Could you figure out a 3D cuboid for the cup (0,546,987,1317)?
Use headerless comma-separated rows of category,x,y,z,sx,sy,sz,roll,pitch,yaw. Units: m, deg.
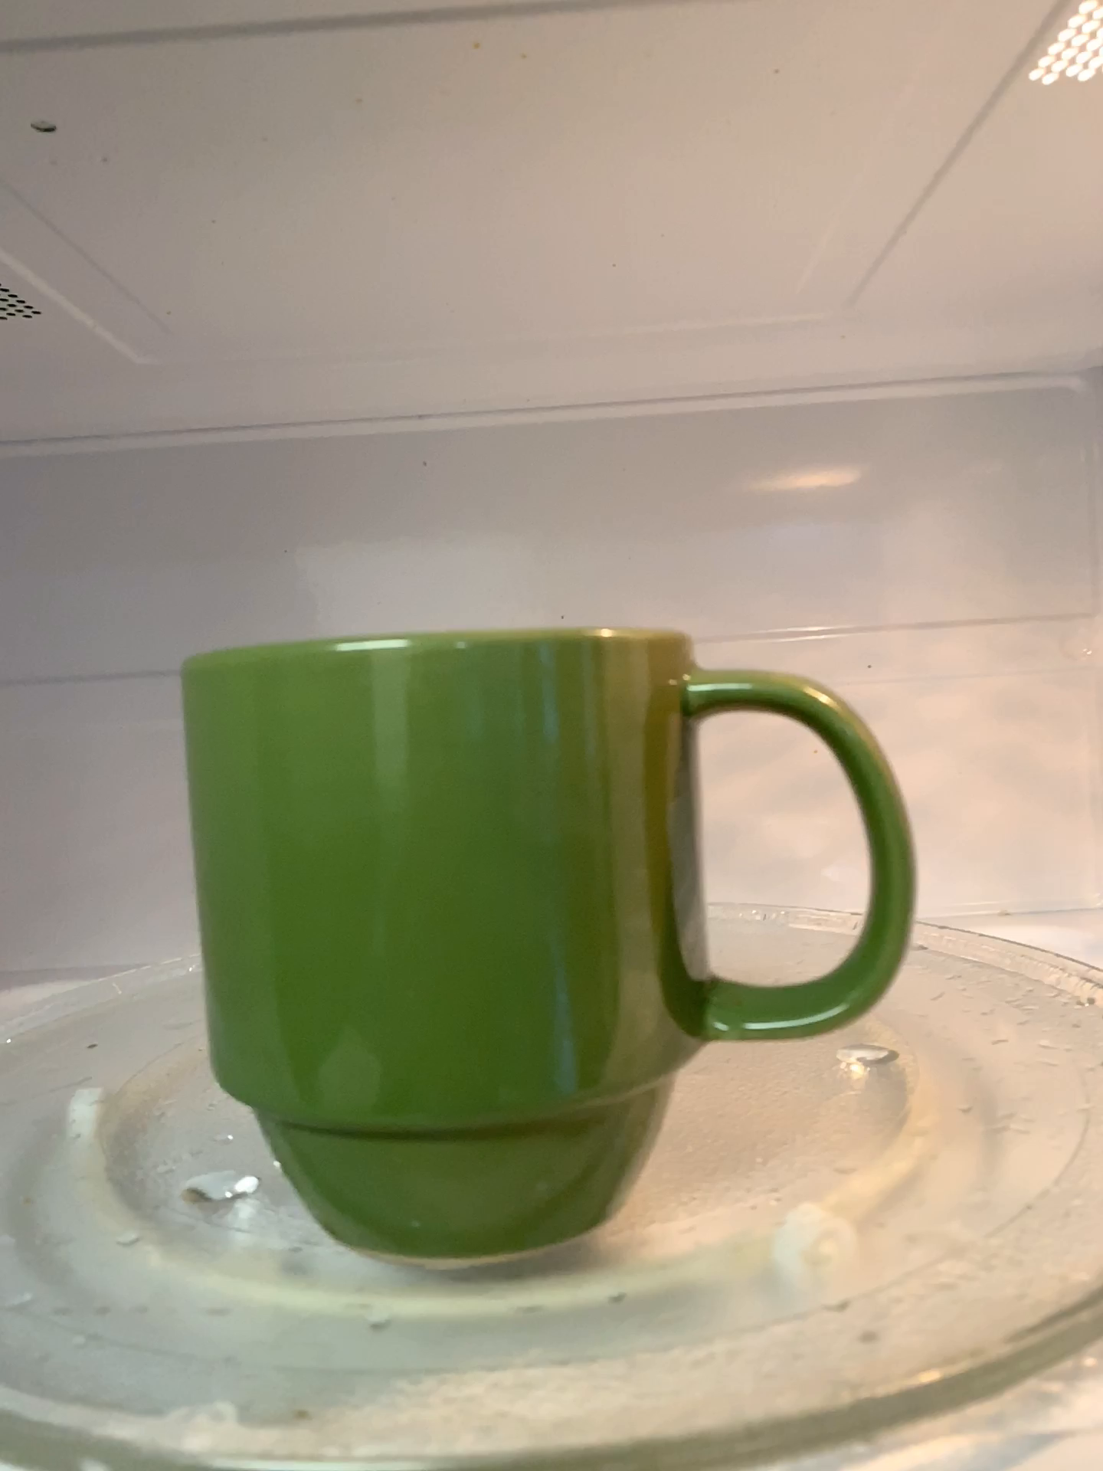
cup,-0.007,0.024,0.184,0.130,0.090,0.080,-3,2,12
